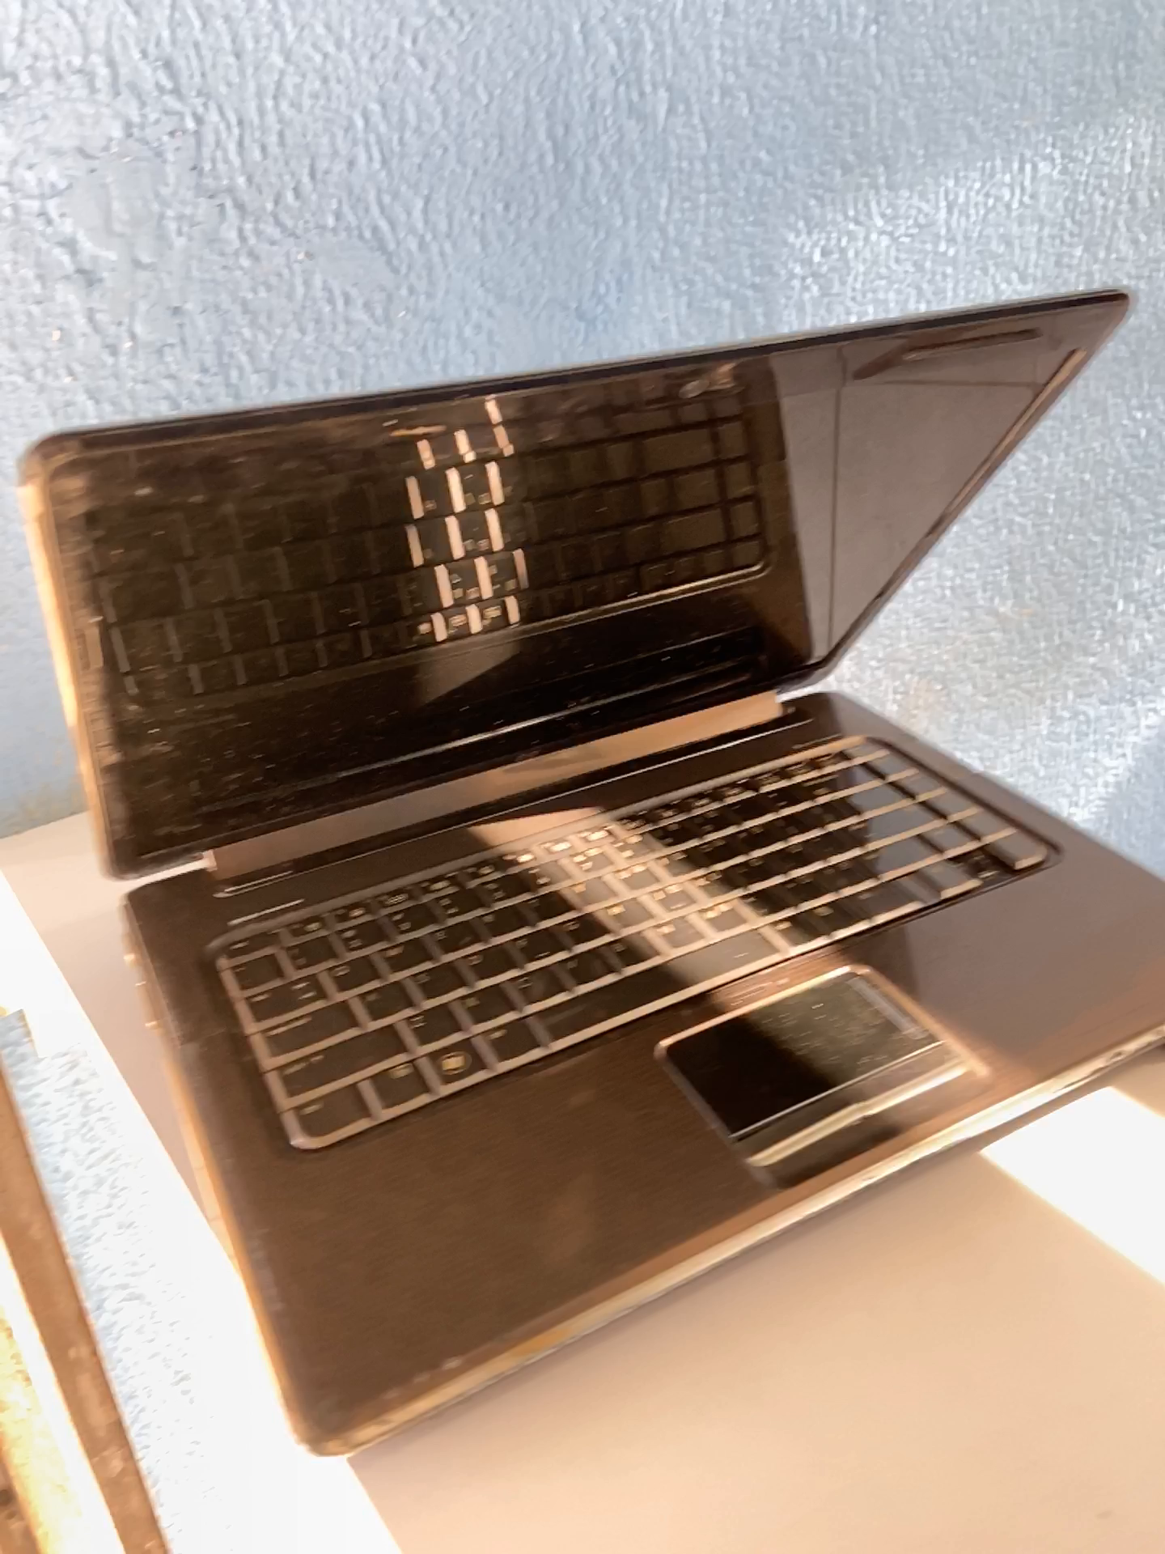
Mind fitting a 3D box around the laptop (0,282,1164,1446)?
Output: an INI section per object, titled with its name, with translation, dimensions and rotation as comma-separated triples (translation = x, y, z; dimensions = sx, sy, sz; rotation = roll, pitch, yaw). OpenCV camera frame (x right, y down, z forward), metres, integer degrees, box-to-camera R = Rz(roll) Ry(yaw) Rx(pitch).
[laptop]
translation = 0.028, -0.031, 0.390
dimensions = 0.344, 0.190, 0.245
rotation = -16, 31, -23
